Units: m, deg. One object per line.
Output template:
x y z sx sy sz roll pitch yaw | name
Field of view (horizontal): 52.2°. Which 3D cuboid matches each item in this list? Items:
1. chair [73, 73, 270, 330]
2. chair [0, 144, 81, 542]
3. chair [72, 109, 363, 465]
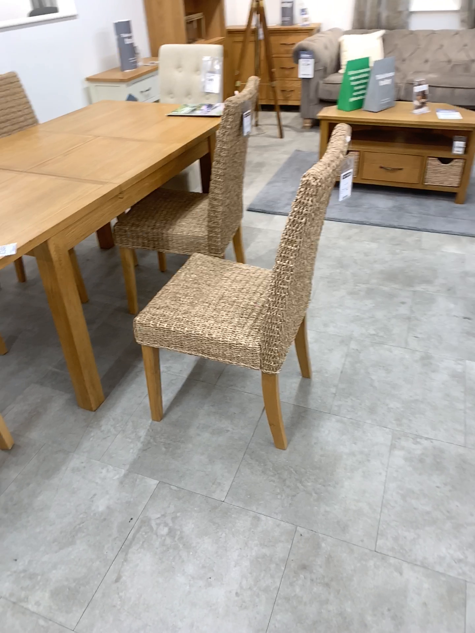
-0.193 -0.480 2.007 0.565 0.869 0.529 6 36 13 | chair
-0.916 0.067 1.206 0.725 0.840 0.428 5 36 11 | chair
-0.002 -0.103 1.451 0.575 0.840 0.509 11 38 19 | chair
